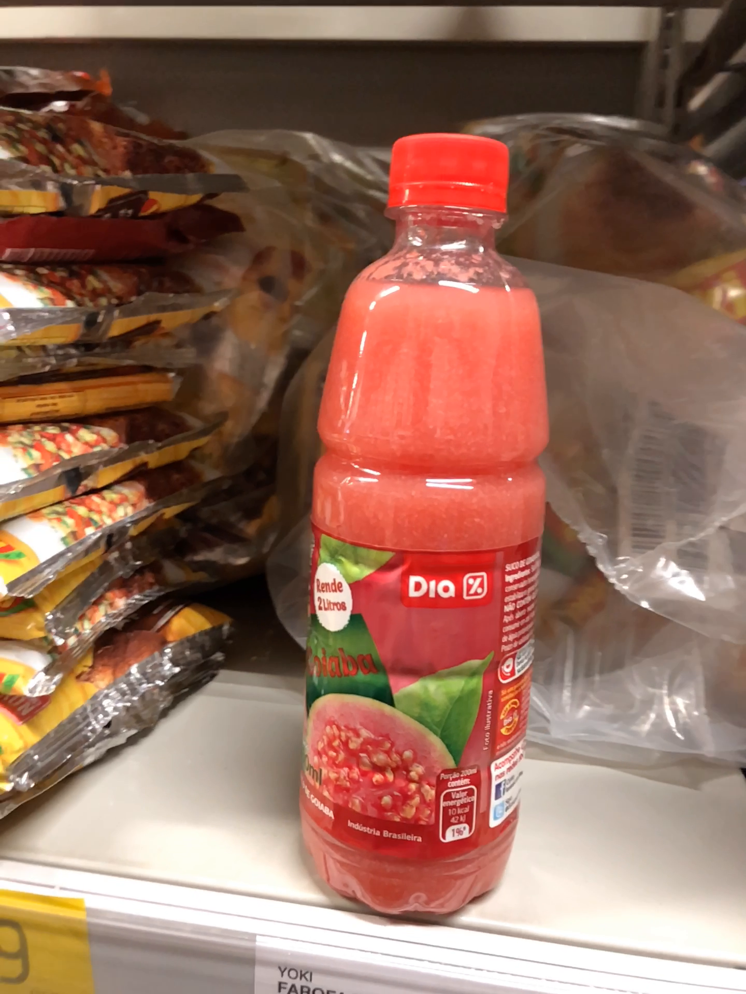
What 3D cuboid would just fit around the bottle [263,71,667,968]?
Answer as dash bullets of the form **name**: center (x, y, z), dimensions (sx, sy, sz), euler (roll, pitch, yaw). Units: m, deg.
- **bottle**: center (0.020, 0.007, 0.244), dimensions (0.070, 0.219, 0.070), euler (4, 13, -1)
